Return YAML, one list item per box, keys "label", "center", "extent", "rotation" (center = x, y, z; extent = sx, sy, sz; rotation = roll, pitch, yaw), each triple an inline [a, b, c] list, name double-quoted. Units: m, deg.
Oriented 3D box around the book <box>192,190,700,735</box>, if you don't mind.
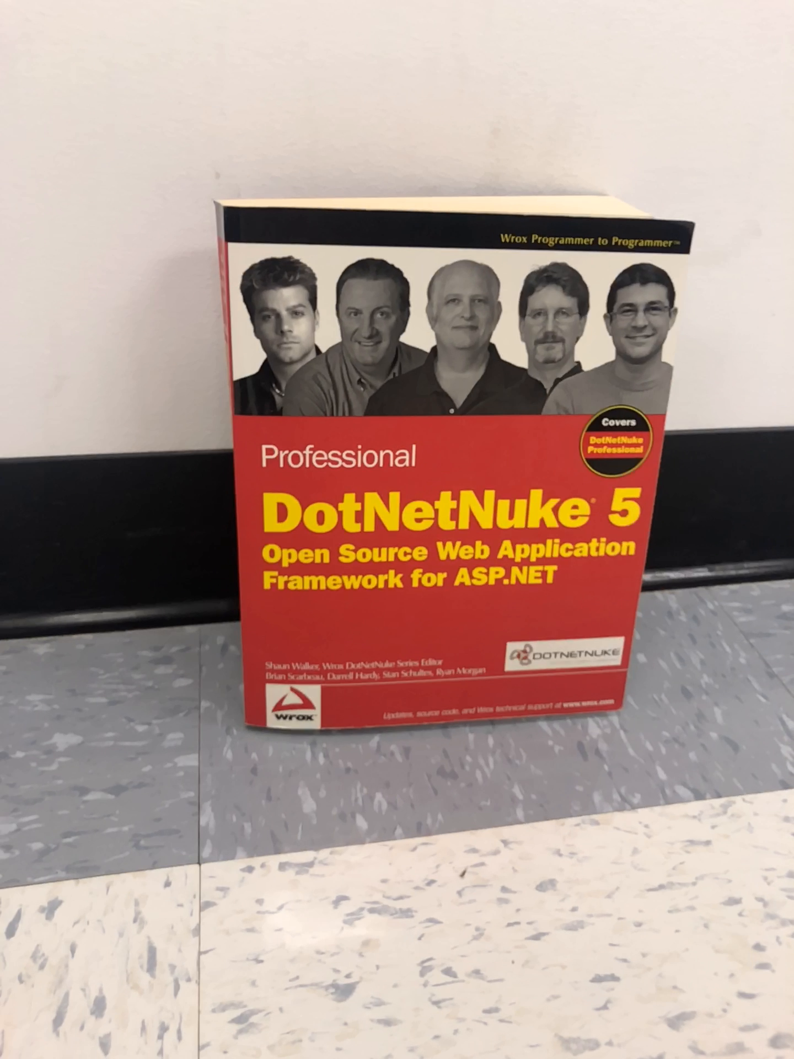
- label: "book"
  center: [0.017, -0.029, 0.429]
  extent: [0.210, 0.249, 0.060]
  rotation: [-1, 20, -7]
